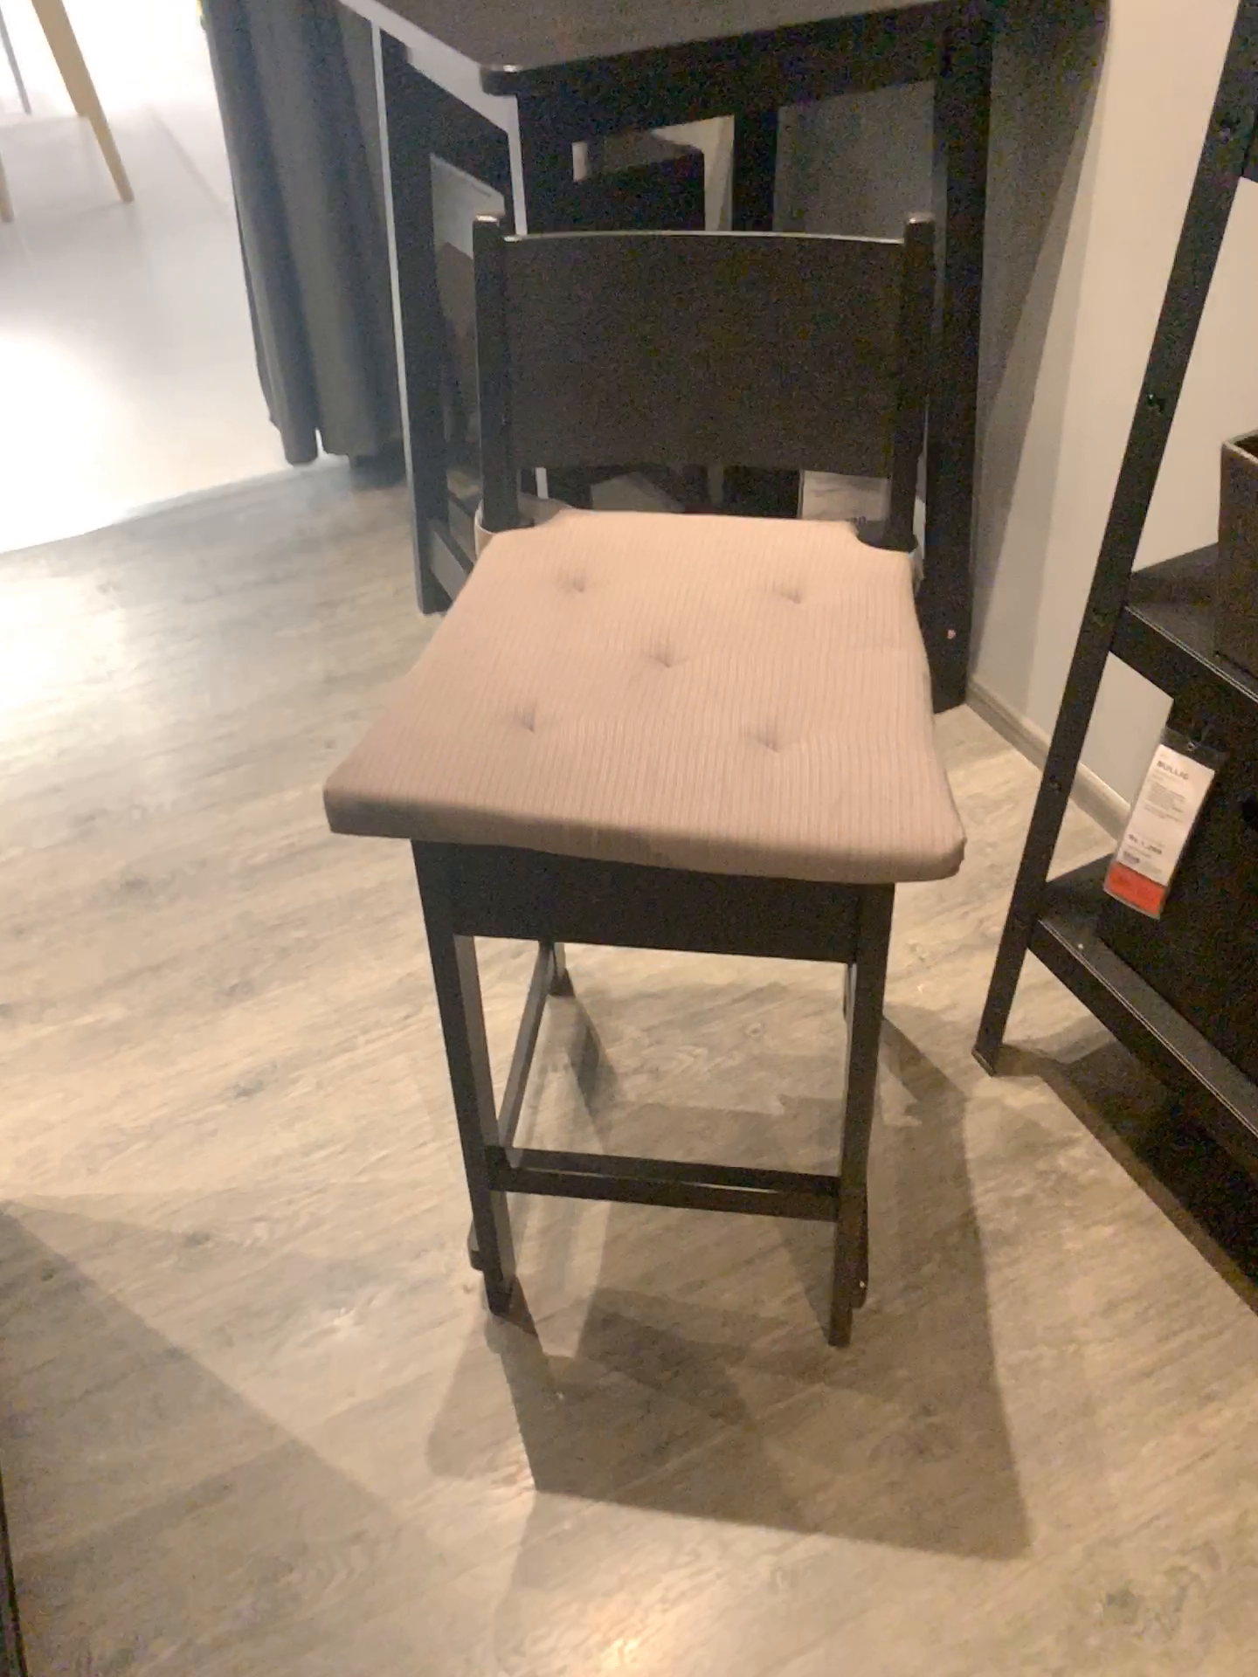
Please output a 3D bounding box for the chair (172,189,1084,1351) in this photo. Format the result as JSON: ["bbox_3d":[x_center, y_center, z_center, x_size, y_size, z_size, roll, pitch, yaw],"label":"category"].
[{"bbox_3d":[0.036,-0.014,1.126,0.460,0.887,0.502,3,44,6],"label":"chair"}]
